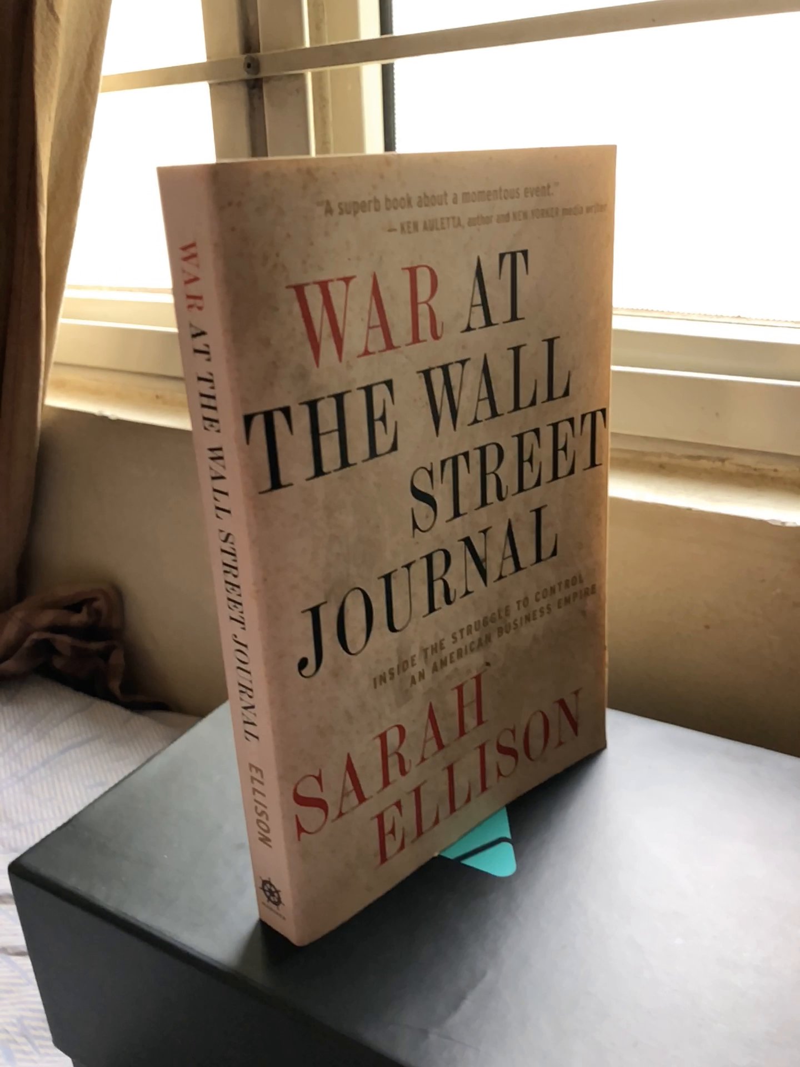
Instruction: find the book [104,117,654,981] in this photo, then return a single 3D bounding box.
[{"bbox_3d":[0.010,-0.004,0.250,0.150,0.199,0.030,-19,26,-39],"label":"book"}]
